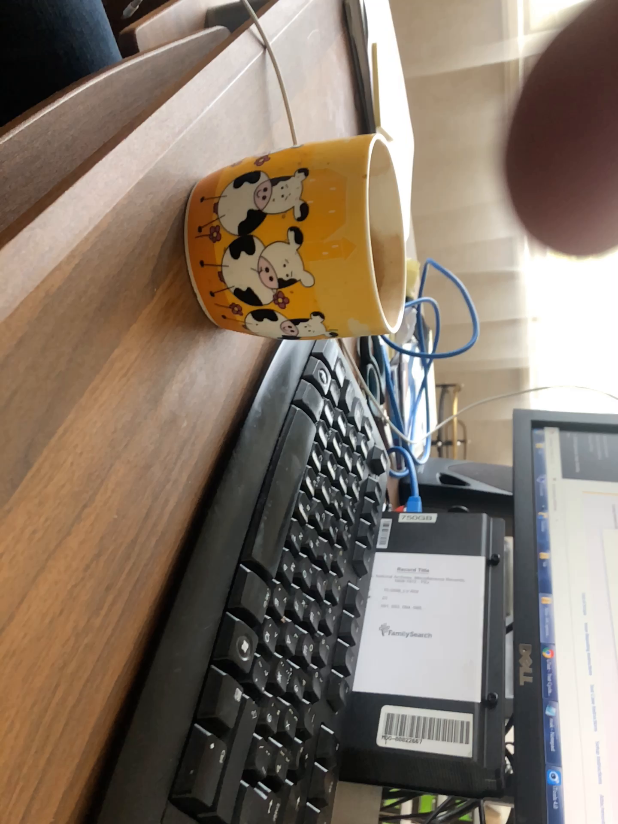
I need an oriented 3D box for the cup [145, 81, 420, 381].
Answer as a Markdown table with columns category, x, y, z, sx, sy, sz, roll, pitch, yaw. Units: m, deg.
| category | x | y | z | sx | sy | sz | roll | pitch | yaw |
| --- | --- | --- | --- | --- | --- | --- | --- | --- | --- |
| cup | -0.001 | -0.097 | 0.362 | 0.135 | 0.095 | 0.092 | -72 | 153 | -46 |
